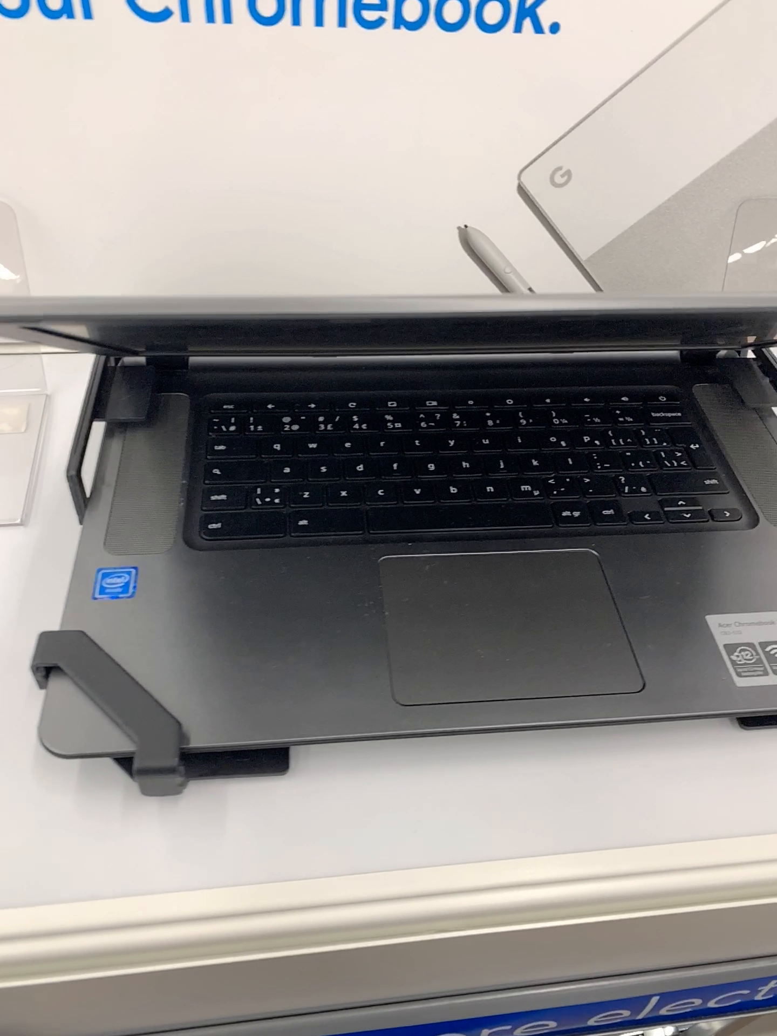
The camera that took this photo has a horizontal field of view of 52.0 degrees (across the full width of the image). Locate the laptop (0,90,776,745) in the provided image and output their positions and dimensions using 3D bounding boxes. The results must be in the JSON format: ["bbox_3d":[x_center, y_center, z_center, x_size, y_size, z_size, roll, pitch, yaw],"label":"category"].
[{"bbox_3d":[0.036,-0.048,0.282,0.301,0.116,0.194,-2,48,-6],"label":"laptop"}]
